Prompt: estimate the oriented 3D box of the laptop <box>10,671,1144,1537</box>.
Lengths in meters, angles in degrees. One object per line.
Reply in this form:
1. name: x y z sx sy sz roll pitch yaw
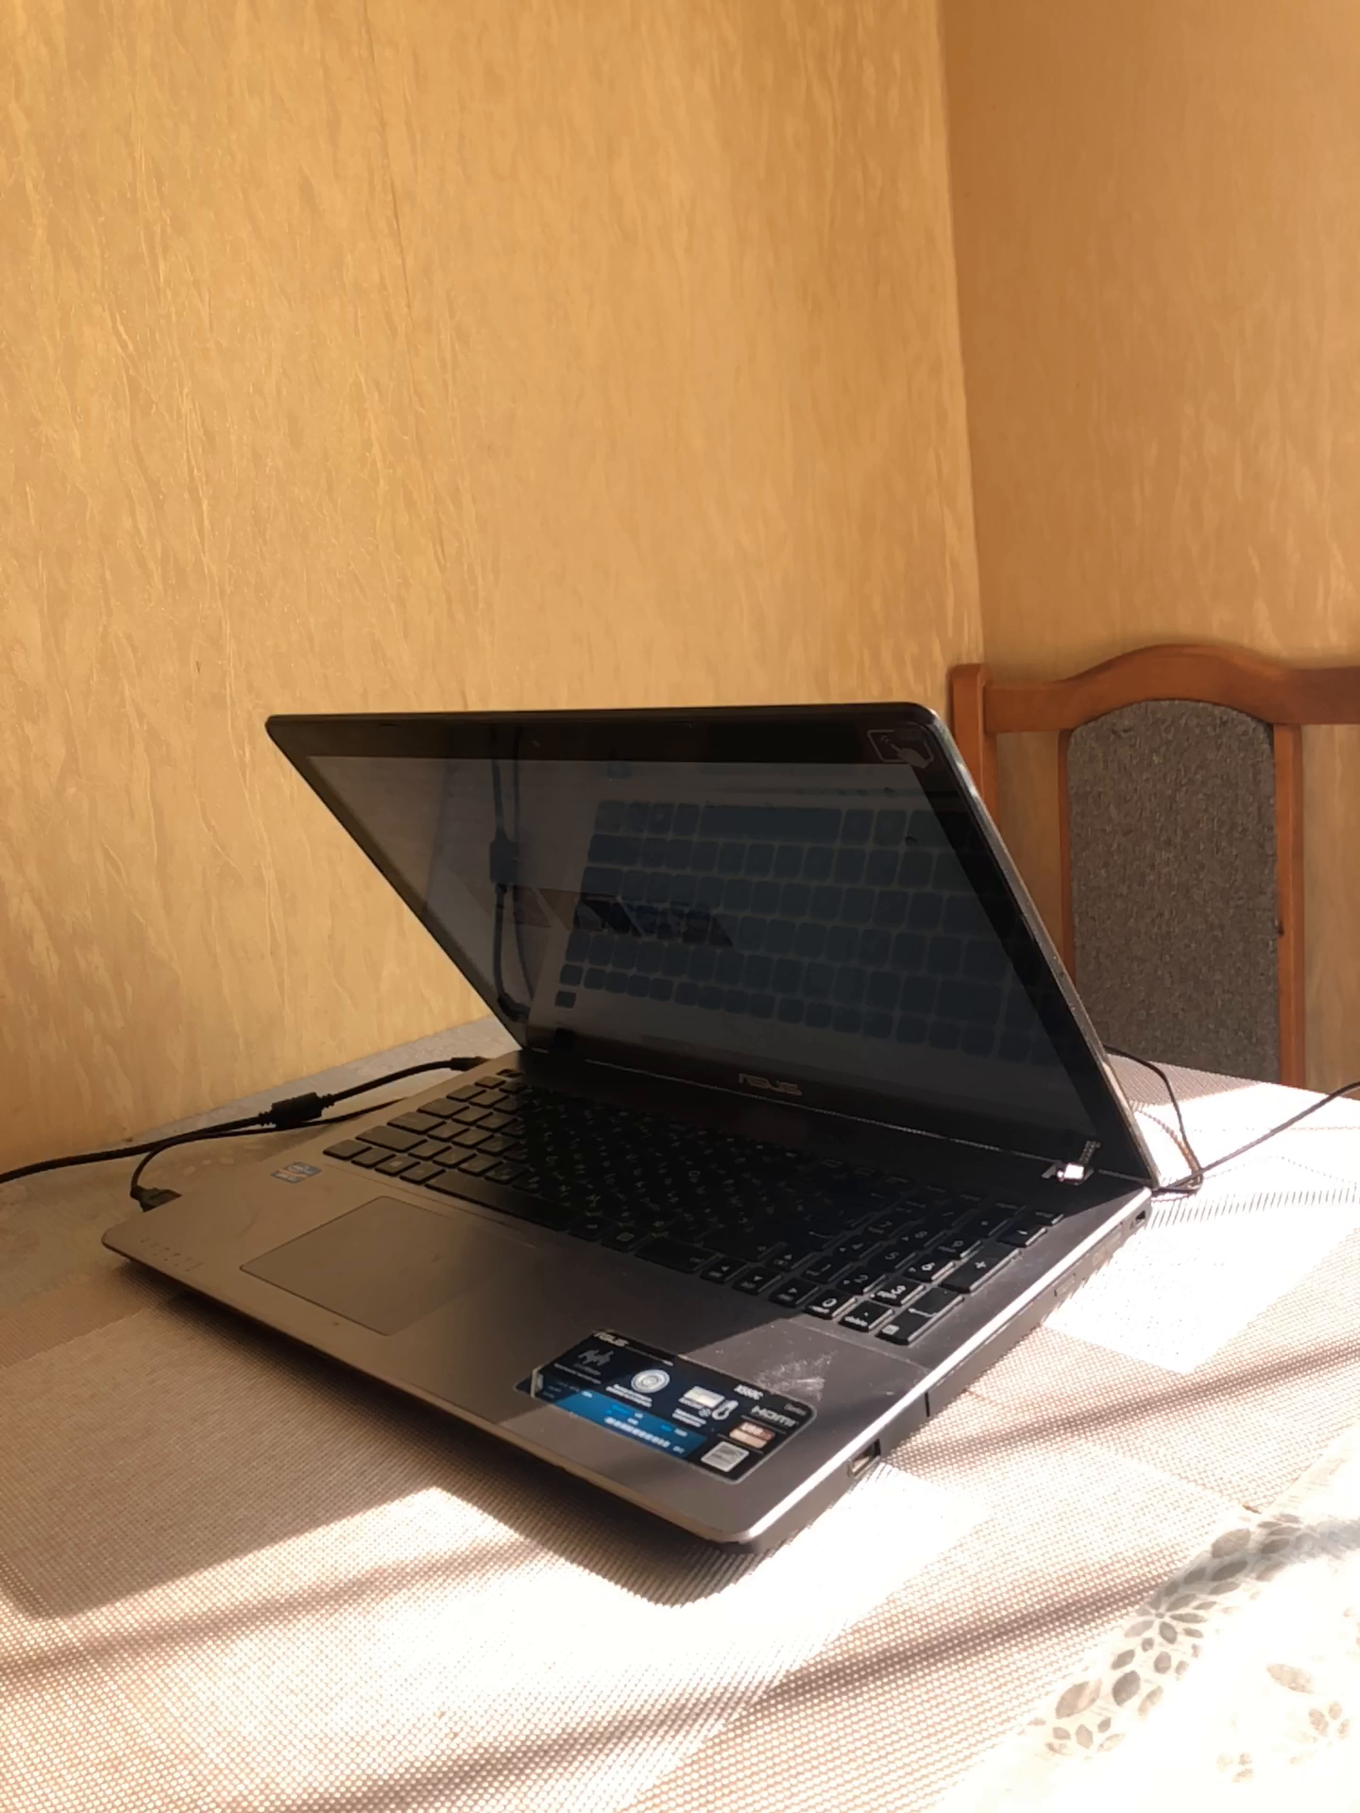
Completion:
1. laptop: -0.050 0.029 0.593 0.369 0.197 0.243 6 18 43
